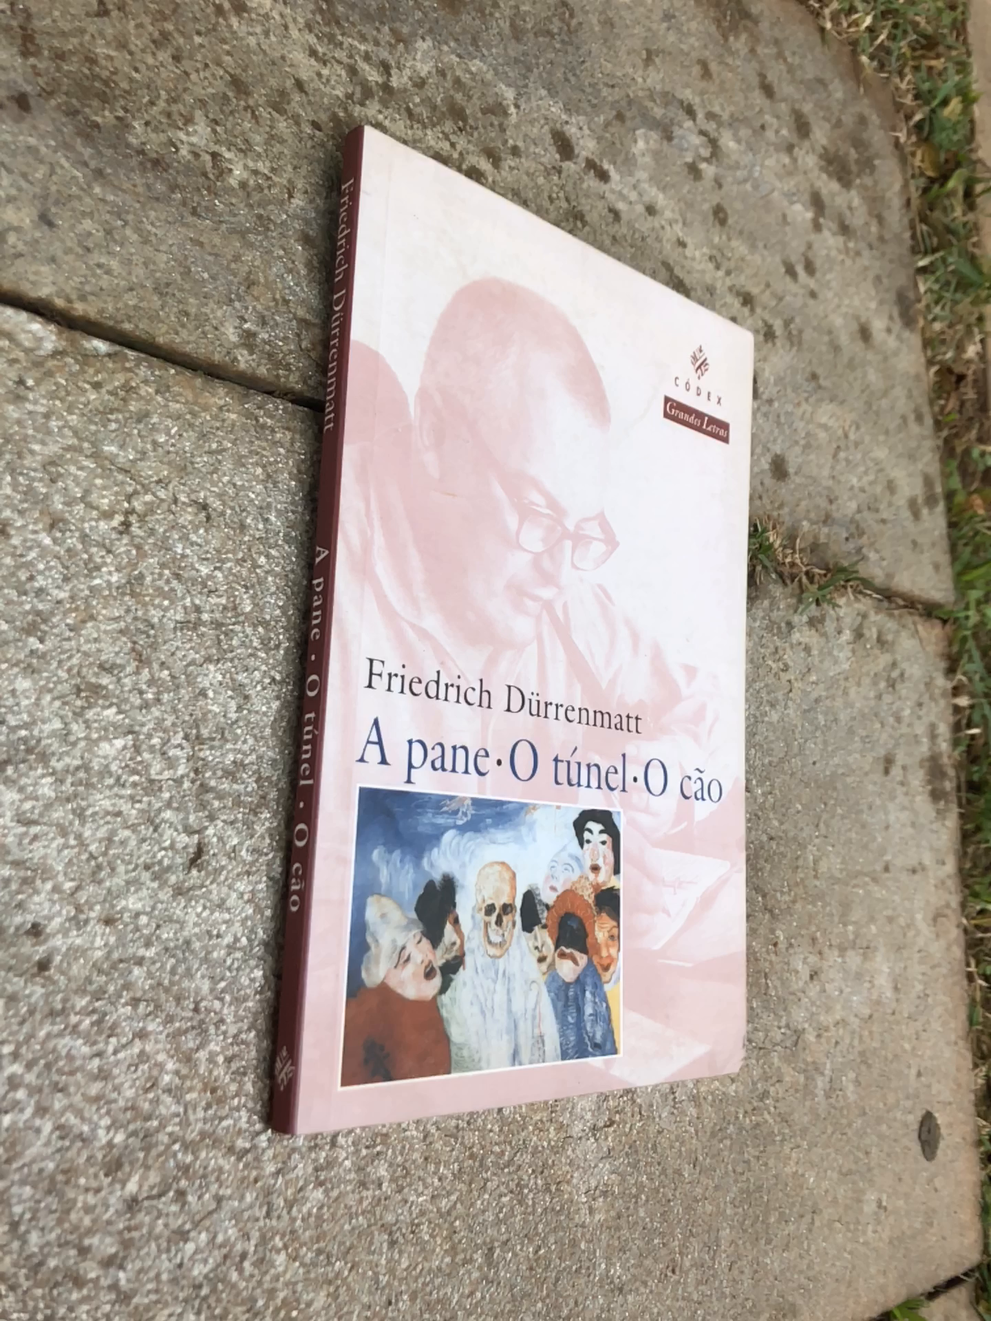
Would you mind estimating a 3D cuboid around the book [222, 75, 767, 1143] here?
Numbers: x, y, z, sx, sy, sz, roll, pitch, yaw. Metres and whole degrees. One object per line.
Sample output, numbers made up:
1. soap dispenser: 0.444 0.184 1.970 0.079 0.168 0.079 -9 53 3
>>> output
1. book: 0.014 -0.007 0.263 0.138 0.020 0.210 12 77 -40
